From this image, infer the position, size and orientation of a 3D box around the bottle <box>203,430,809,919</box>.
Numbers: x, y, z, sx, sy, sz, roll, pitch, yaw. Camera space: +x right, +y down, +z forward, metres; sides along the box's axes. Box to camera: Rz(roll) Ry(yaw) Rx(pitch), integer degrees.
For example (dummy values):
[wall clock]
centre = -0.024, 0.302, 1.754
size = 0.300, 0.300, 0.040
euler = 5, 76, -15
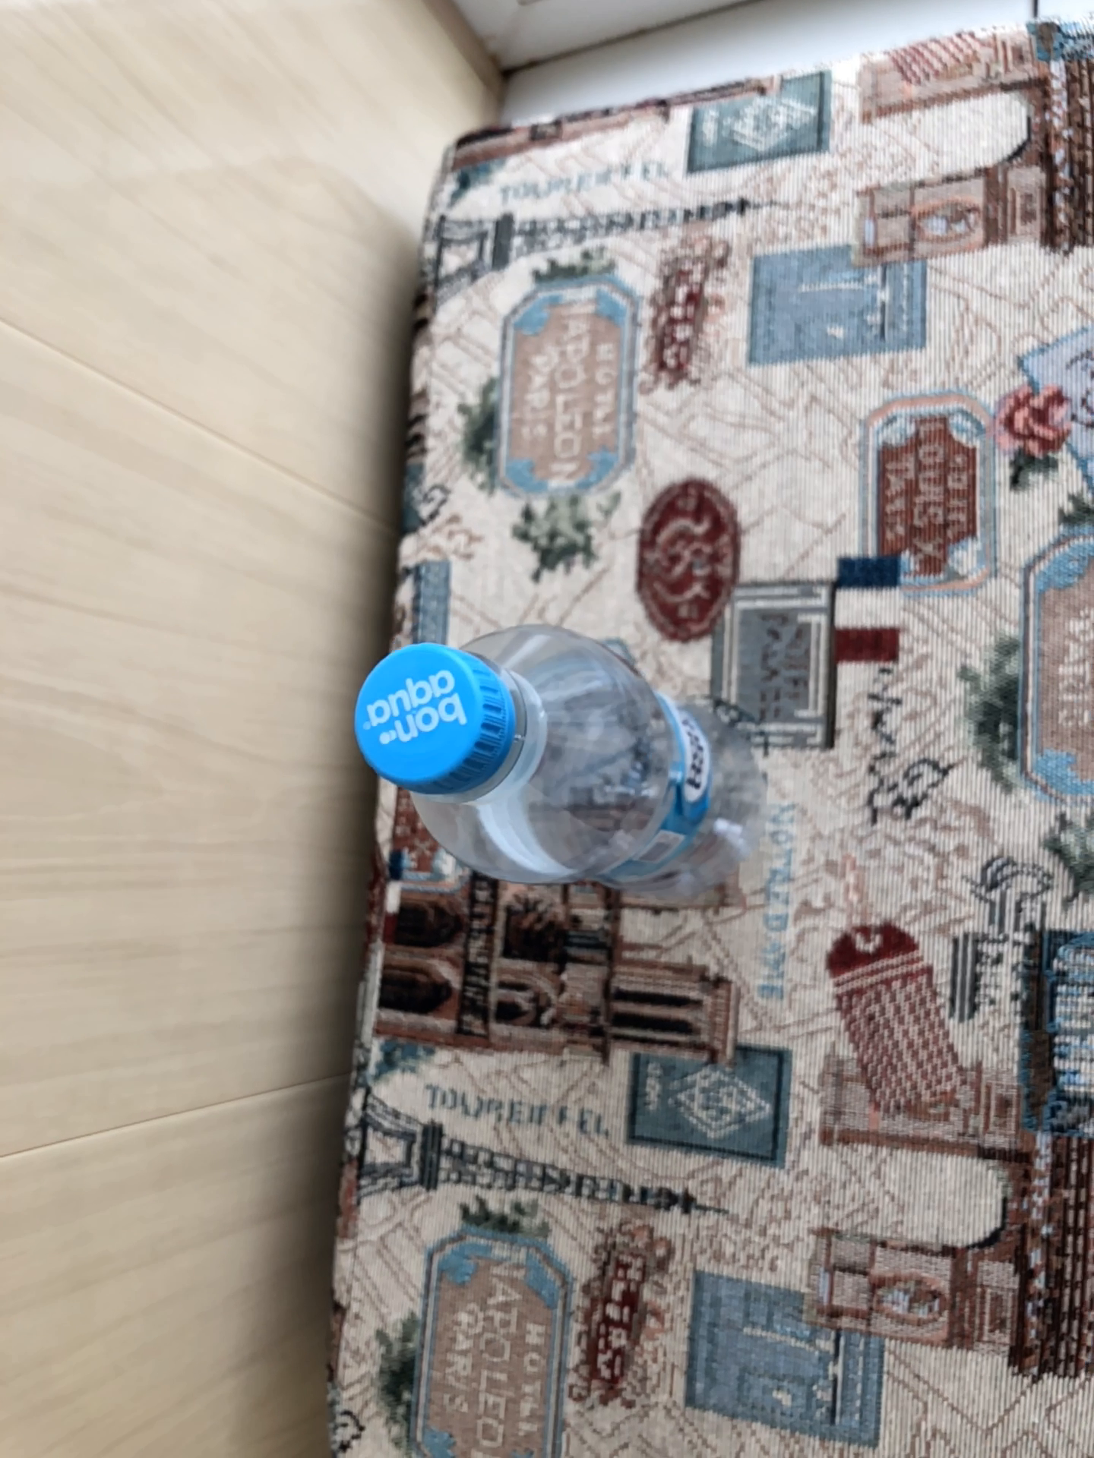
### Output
[bottle]
centre = 0.008, 0.003, 0.329
size = 0.070, 0.209, 0.080
euler = -14, 78, 21
